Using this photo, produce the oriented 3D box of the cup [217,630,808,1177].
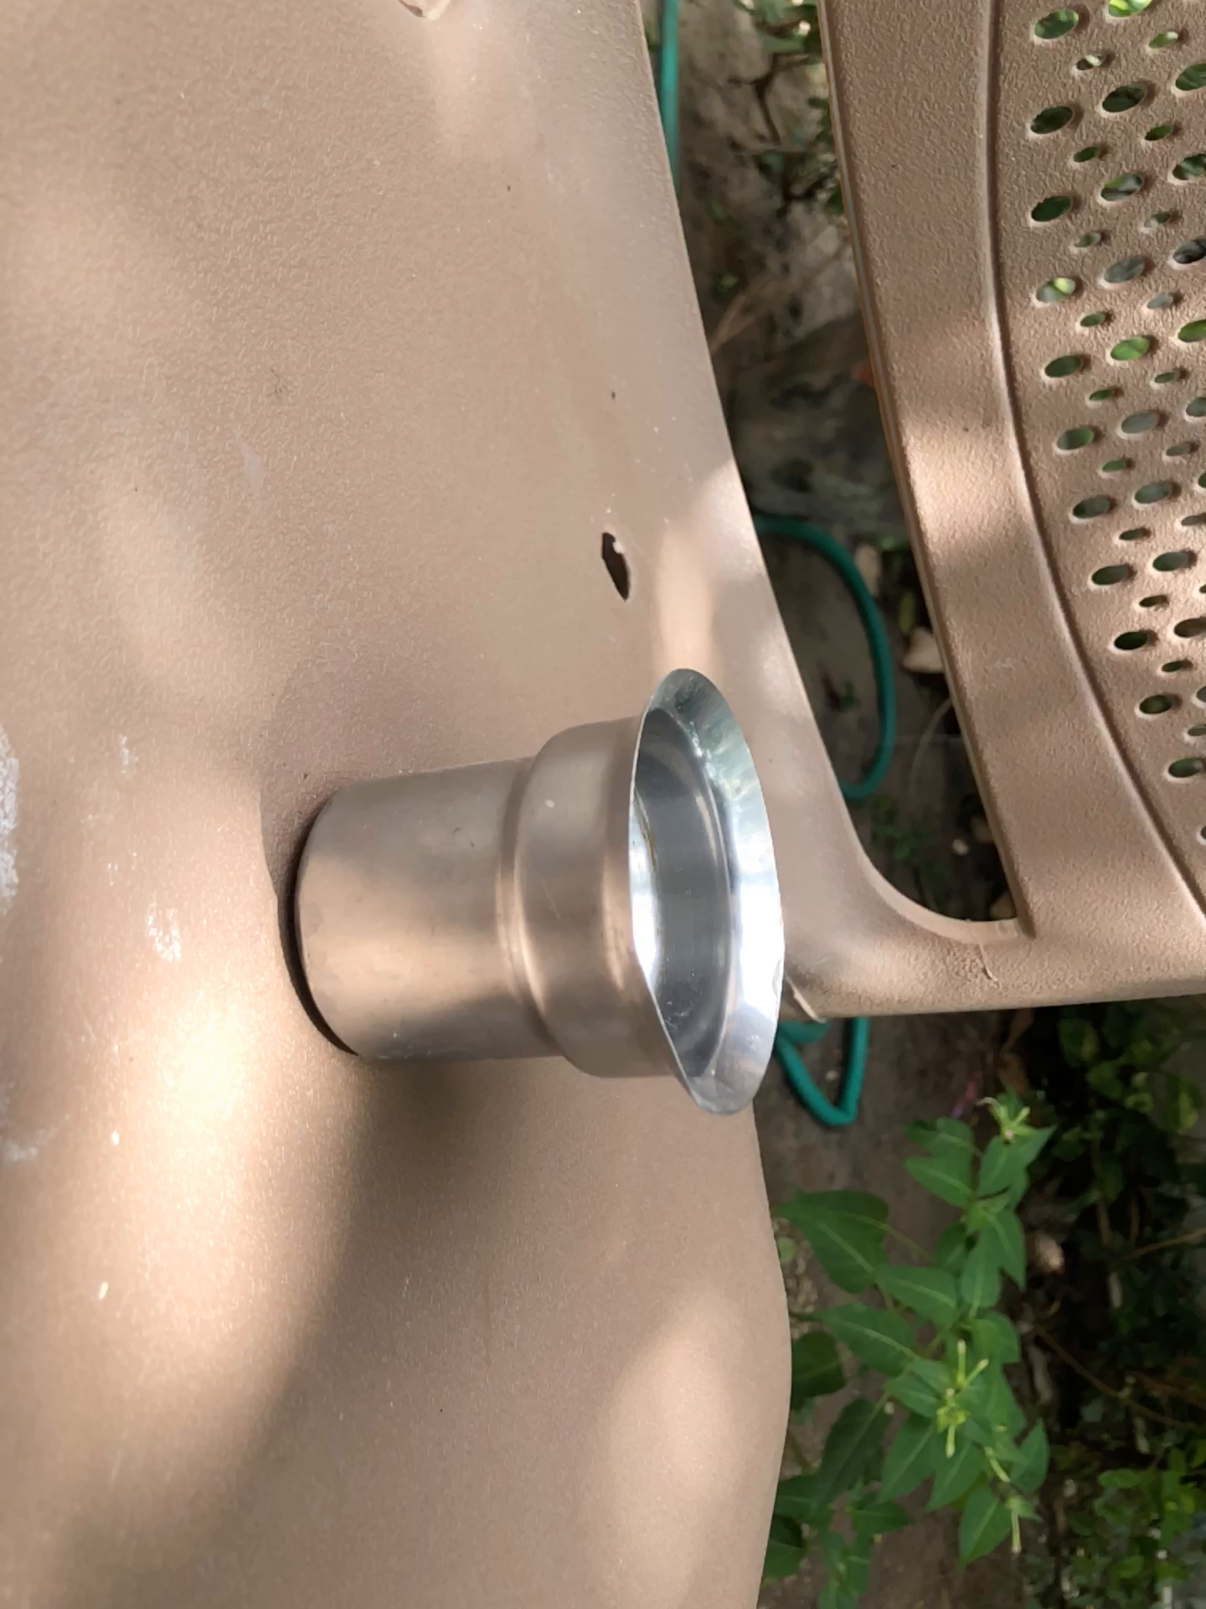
[{"bbox_3d":[-0.011,0.018,0.214,0.060,0.069,0.070,19,69,-62],"label":"cup"}]
